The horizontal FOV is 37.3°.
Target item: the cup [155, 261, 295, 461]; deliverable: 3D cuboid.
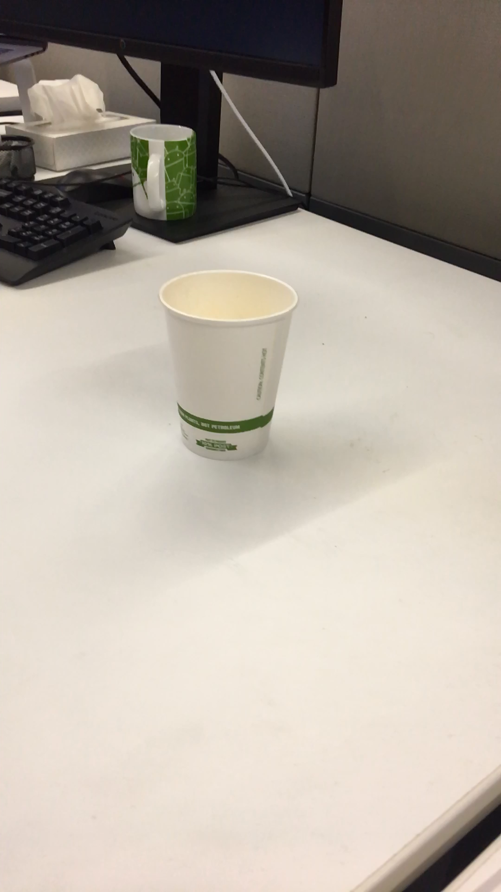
[{"bbox_3d":[-0.019,-0.057,0.490,0.080,0.100,0.090,0,33,-4],"label":"cup"}]
